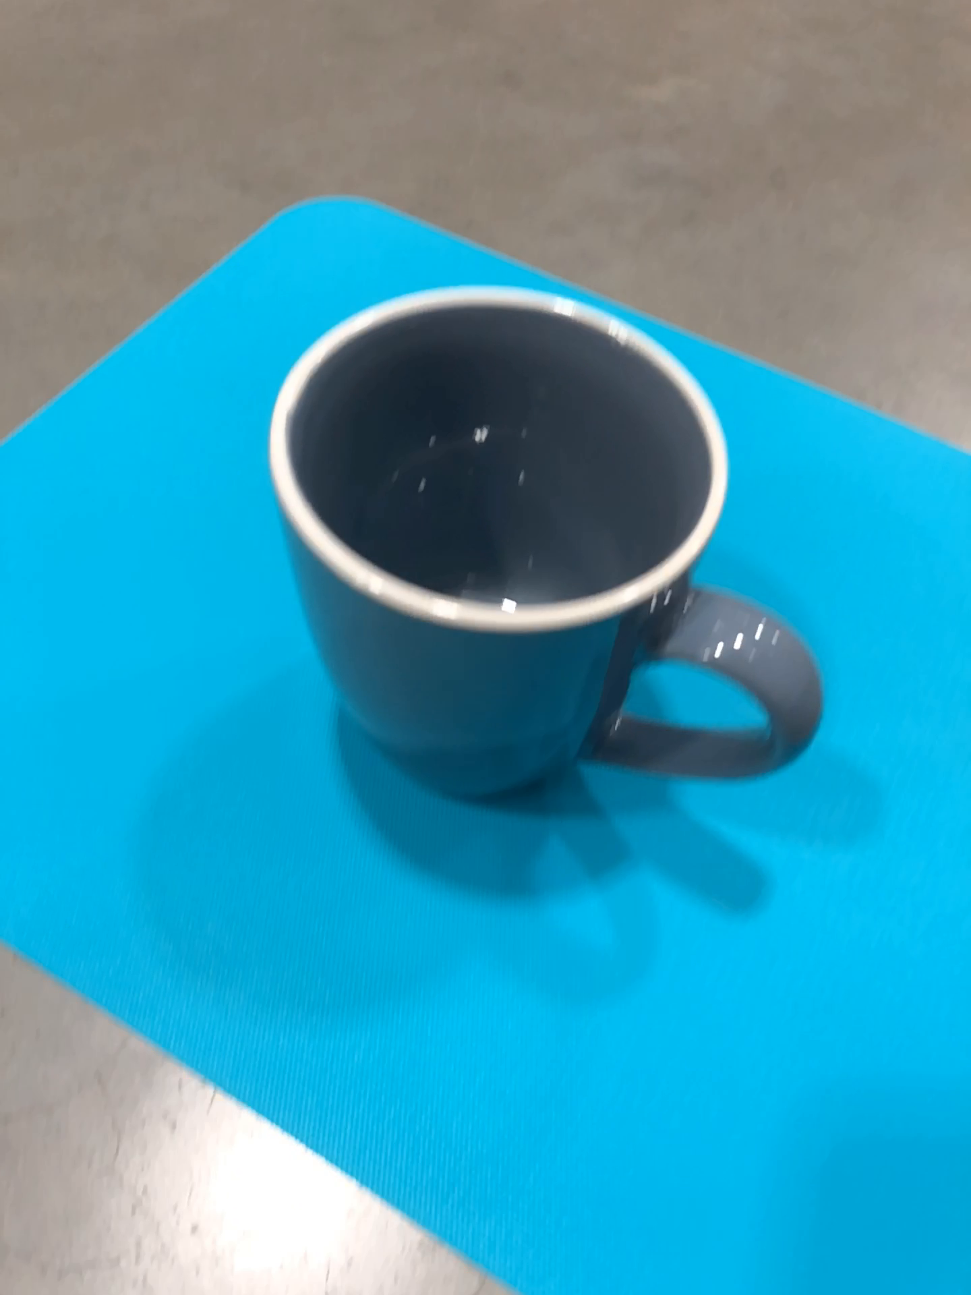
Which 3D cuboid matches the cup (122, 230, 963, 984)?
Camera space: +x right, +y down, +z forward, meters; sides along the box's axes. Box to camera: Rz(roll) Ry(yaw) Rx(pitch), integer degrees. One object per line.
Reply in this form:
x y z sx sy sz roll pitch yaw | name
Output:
0.012 -0.010 0.232 0.130 0.080 0.090 24 57 12 | cup
